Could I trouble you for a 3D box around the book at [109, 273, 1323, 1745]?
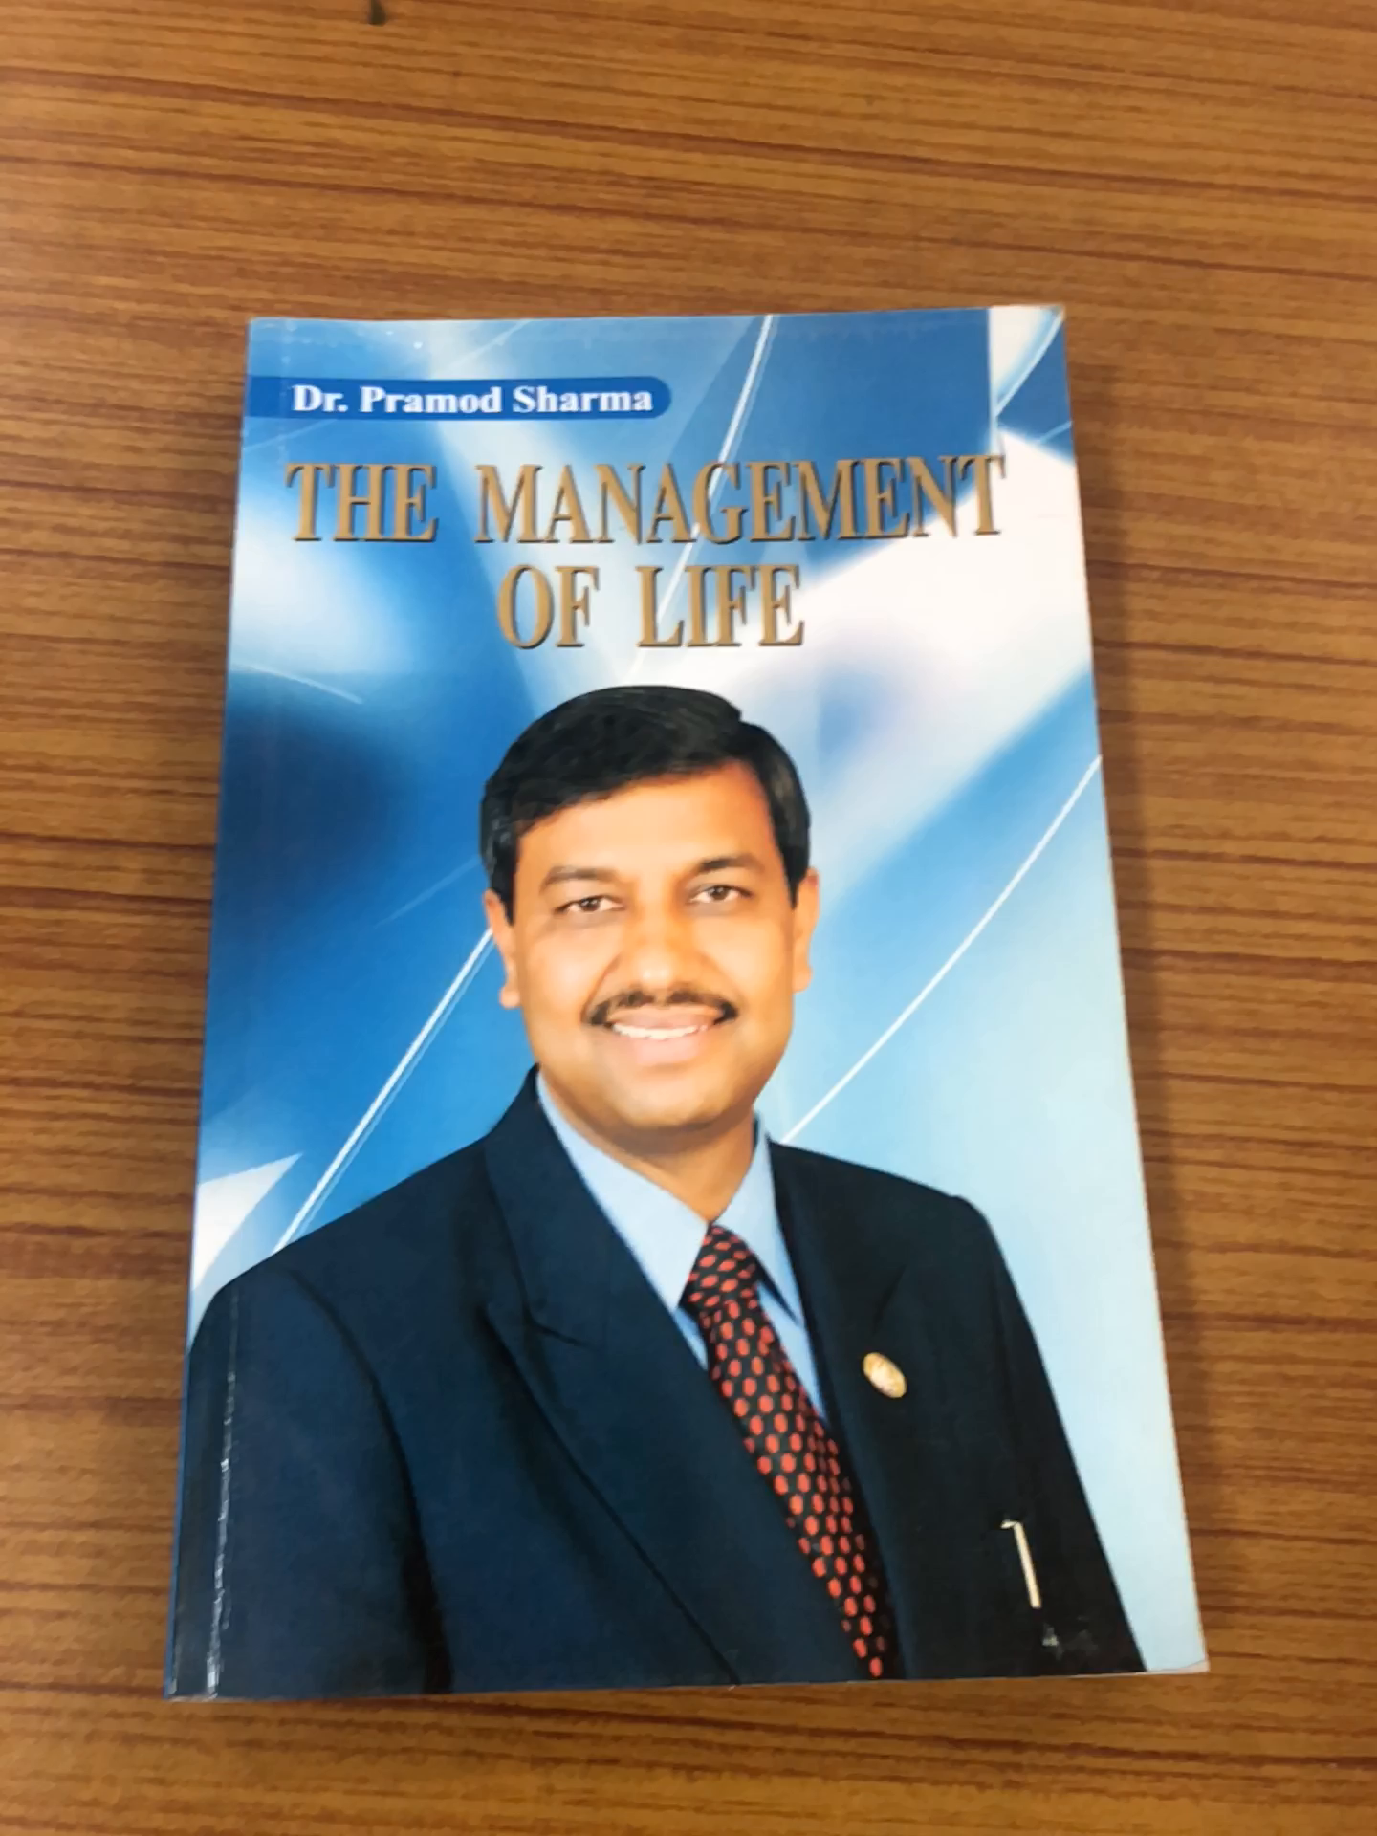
[{"bbox_3d":[0.001,0.002,0.229,0.150,0.020,0.210,-1,74,0],"label":"book"}]
